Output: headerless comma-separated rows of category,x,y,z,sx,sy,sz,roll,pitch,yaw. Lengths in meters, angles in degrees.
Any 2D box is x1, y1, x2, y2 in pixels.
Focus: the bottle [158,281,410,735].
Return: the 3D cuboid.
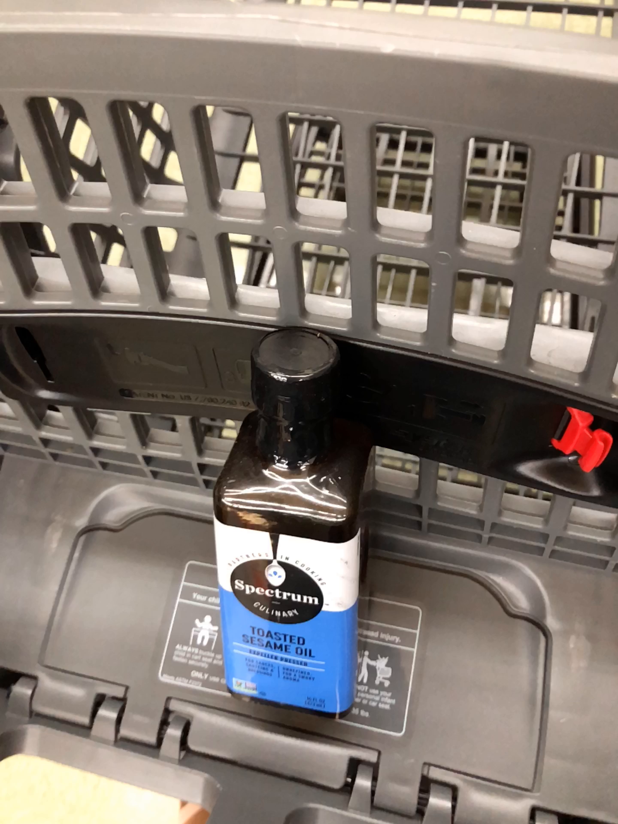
bottle,-0.005,0.052,0.291,0.070,0.200,0.060,8,41,10
